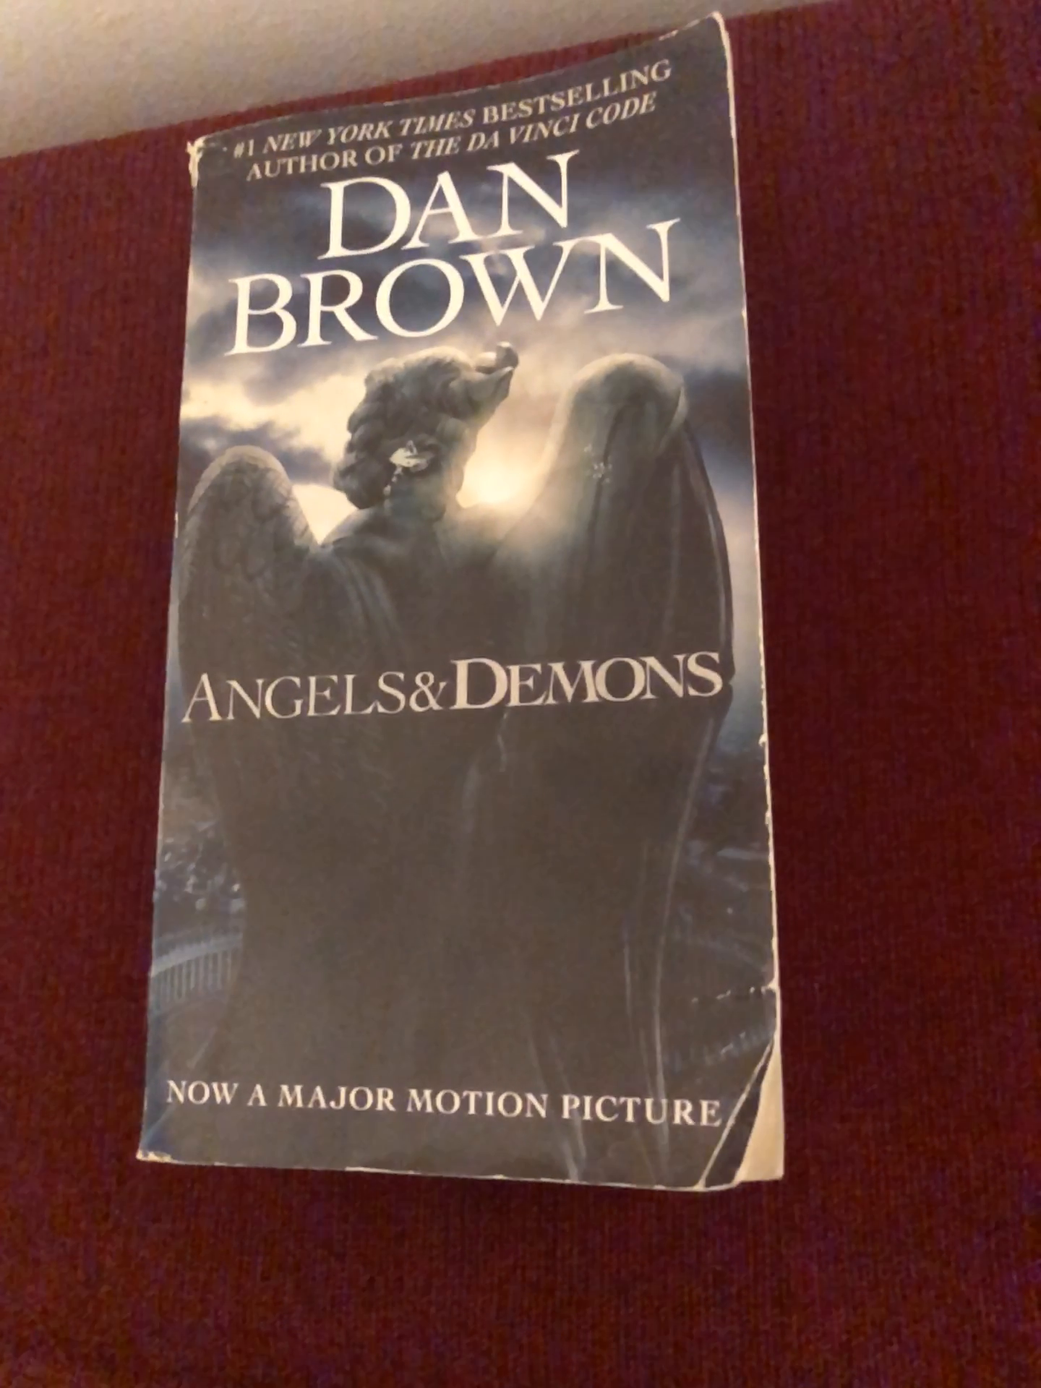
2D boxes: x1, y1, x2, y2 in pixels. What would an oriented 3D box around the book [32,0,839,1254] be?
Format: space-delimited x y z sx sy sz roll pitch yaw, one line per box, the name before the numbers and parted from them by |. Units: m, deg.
book | -0.014 -0.023 0.205 0.120 0.040 0.210 -4 76 16
